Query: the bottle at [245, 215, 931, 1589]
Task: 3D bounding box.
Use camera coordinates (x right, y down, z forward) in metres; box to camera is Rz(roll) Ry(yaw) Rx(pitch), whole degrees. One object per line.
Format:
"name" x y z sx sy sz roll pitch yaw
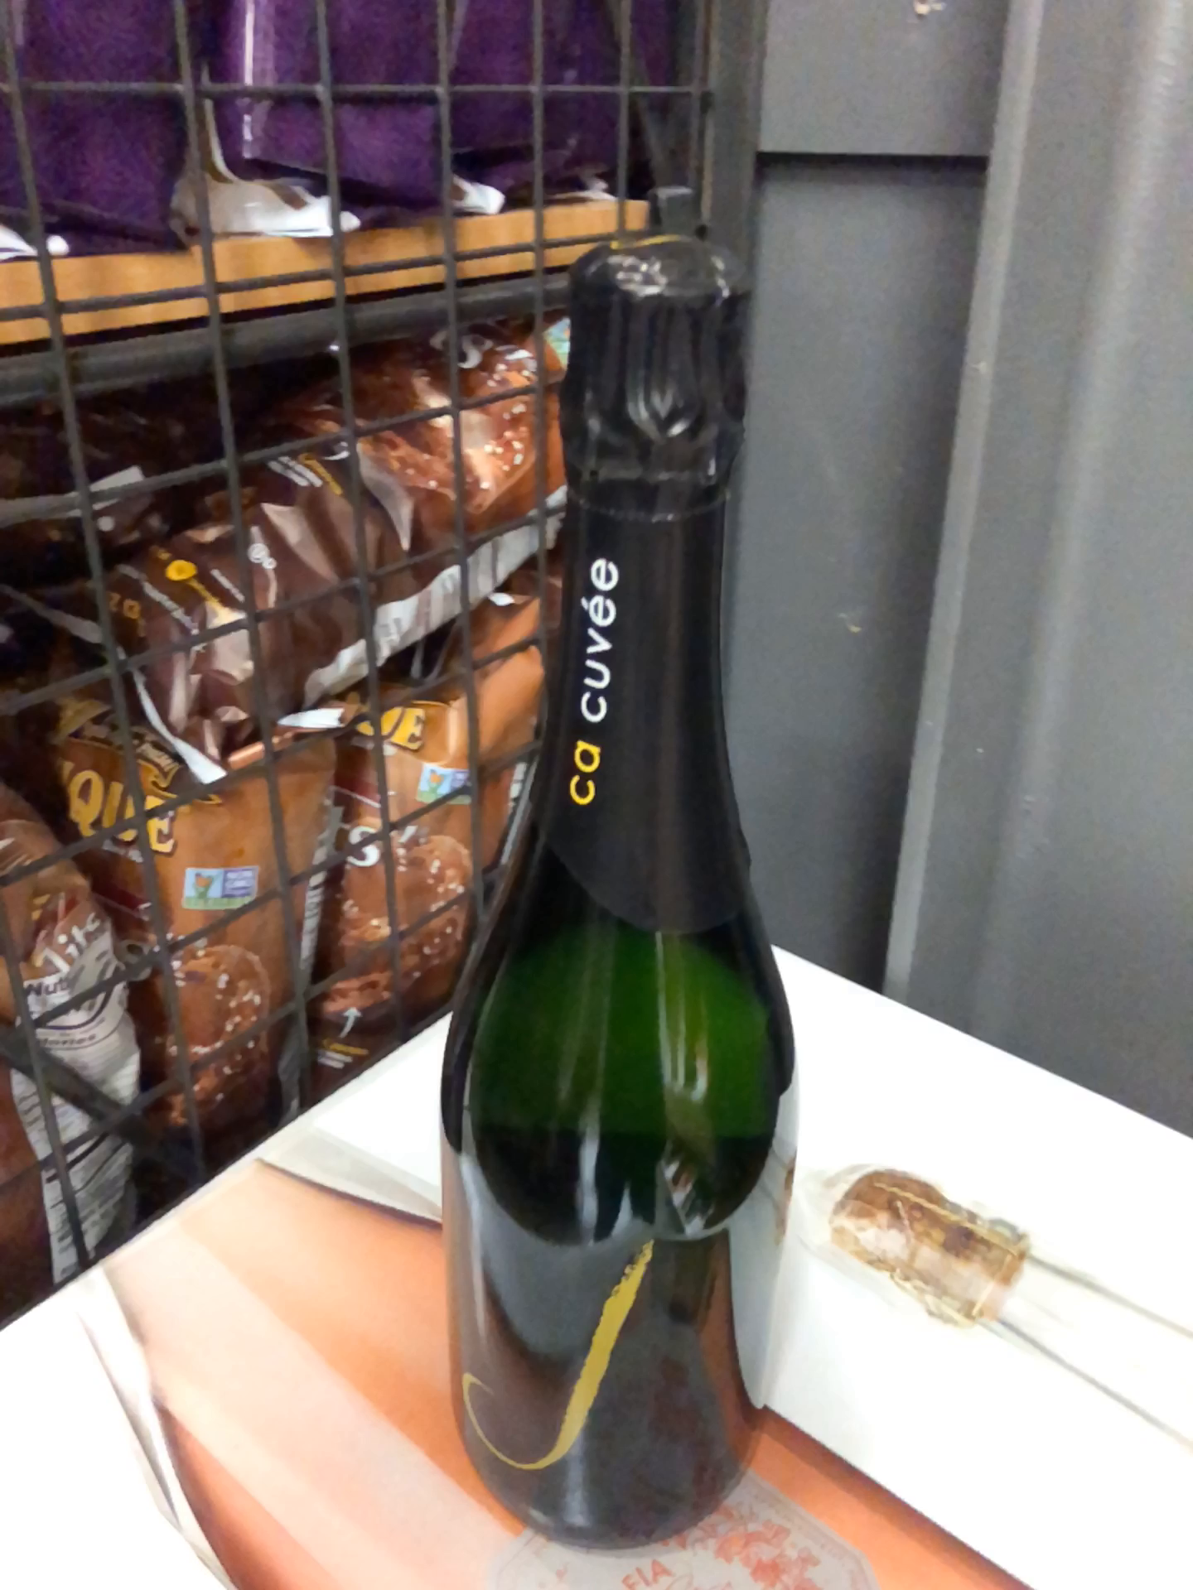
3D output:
"bottle" 0.004 0.033 0.292 0.090 0.289 0.090 0 27 0
